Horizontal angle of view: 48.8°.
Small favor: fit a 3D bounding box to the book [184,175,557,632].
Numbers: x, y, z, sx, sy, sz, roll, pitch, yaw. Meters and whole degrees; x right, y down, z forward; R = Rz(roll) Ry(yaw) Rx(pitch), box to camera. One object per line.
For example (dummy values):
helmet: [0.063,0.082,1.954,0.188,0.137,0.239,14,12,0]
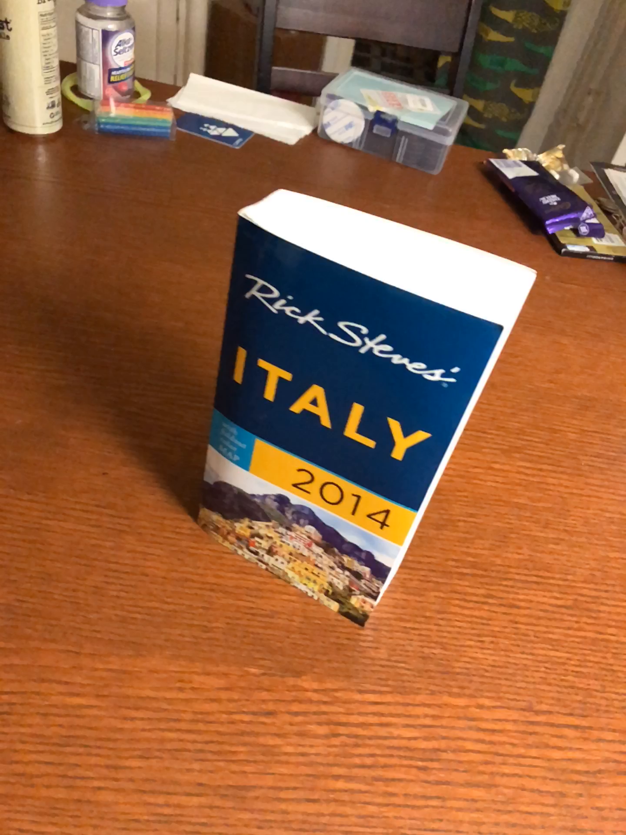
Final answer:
book: [0.014,0.003,0.347,0.130,0.199,0.050,25,40,11]
